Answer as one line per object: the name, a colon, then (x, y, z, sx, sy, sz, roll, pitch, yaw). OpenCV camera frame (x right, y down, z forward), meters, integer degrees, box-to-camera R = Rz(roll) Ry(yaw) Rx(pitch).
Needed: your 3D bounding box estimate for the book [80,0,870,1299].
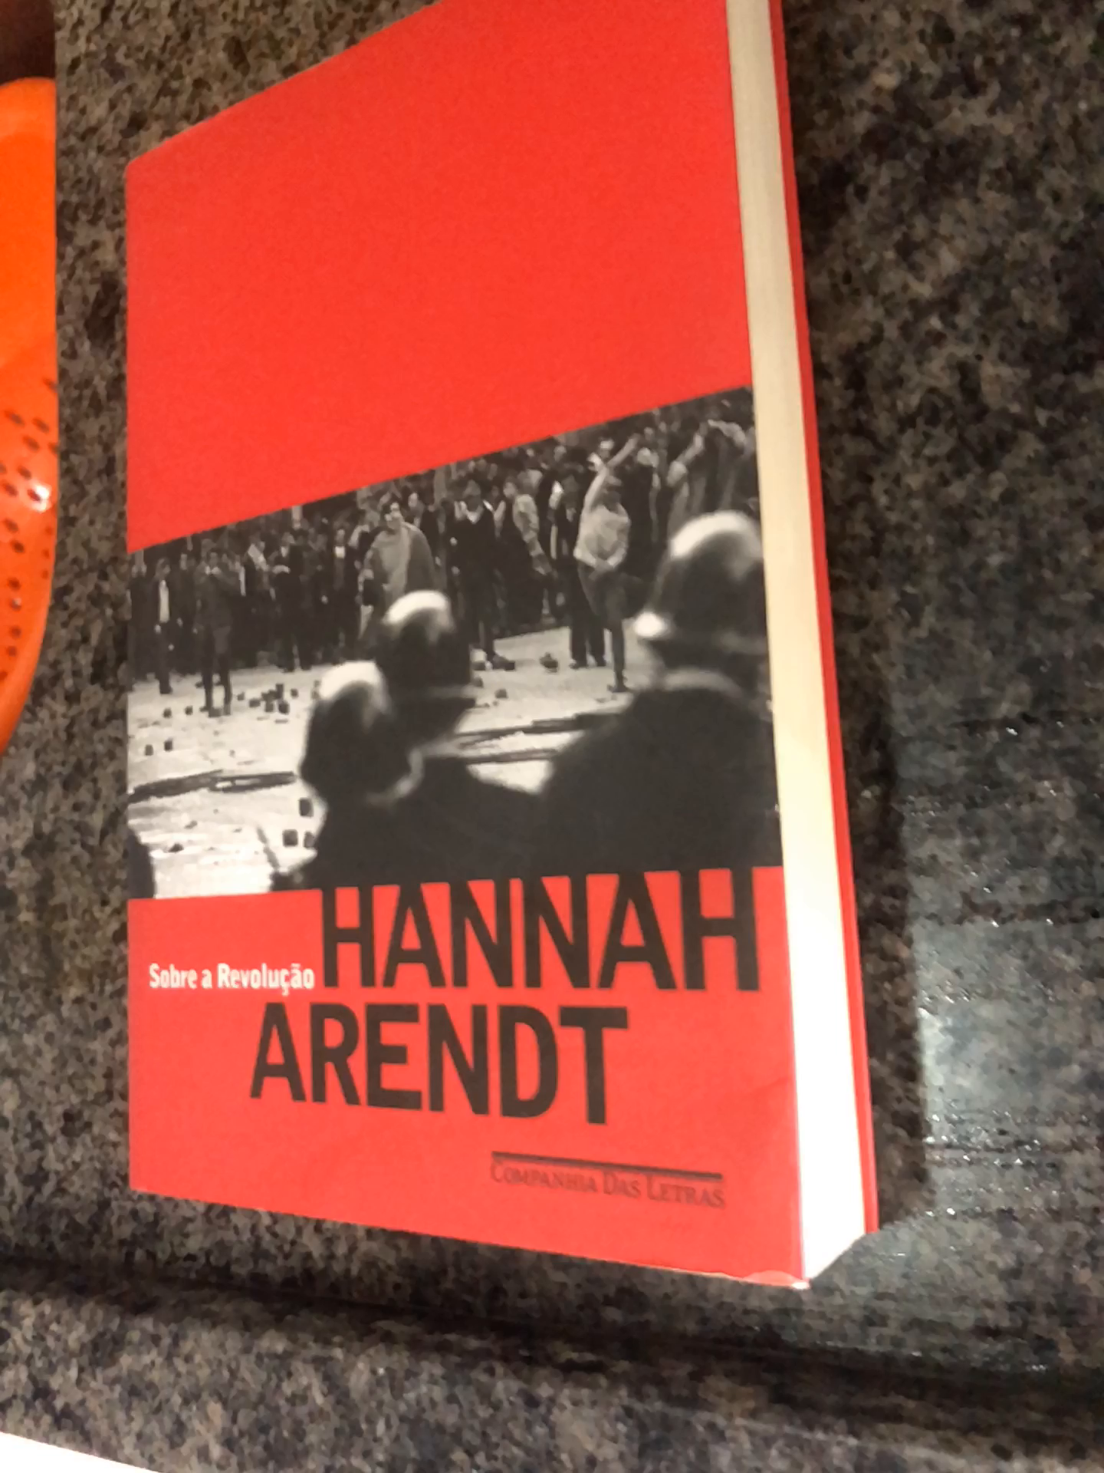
book: (-0.026, -0.023, 0.224, 0.145, 0.030, 0.210, -7, 81, 33)
